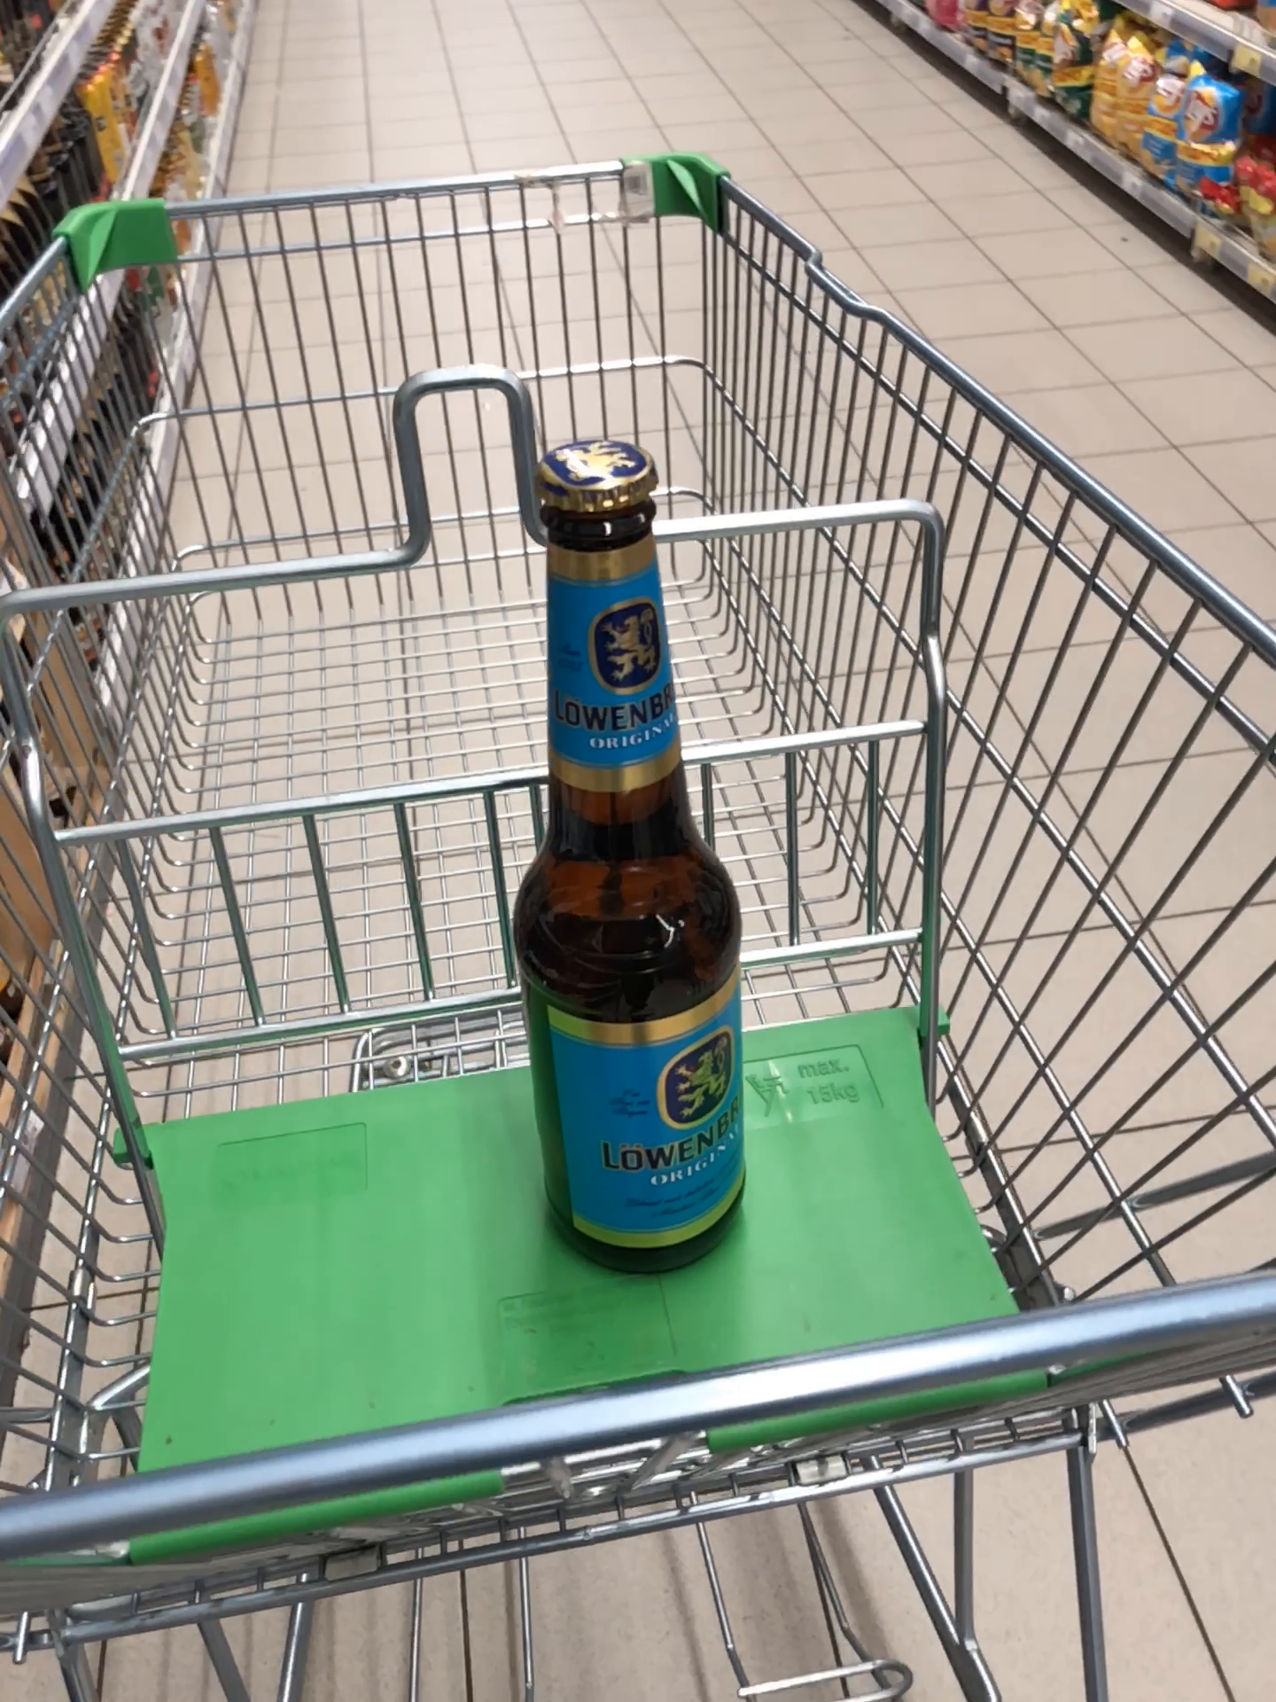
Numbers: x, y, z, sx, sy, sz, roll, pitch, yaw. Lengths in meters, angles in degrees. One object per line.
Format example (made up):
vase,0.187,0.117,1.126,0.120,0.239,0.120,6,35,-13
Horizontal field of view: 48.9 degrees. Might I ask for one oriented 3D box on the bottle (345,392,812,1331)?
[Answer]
bottle,-0.006,0.016,0.387,0.080,0.249,0.070,-23,42,-21
